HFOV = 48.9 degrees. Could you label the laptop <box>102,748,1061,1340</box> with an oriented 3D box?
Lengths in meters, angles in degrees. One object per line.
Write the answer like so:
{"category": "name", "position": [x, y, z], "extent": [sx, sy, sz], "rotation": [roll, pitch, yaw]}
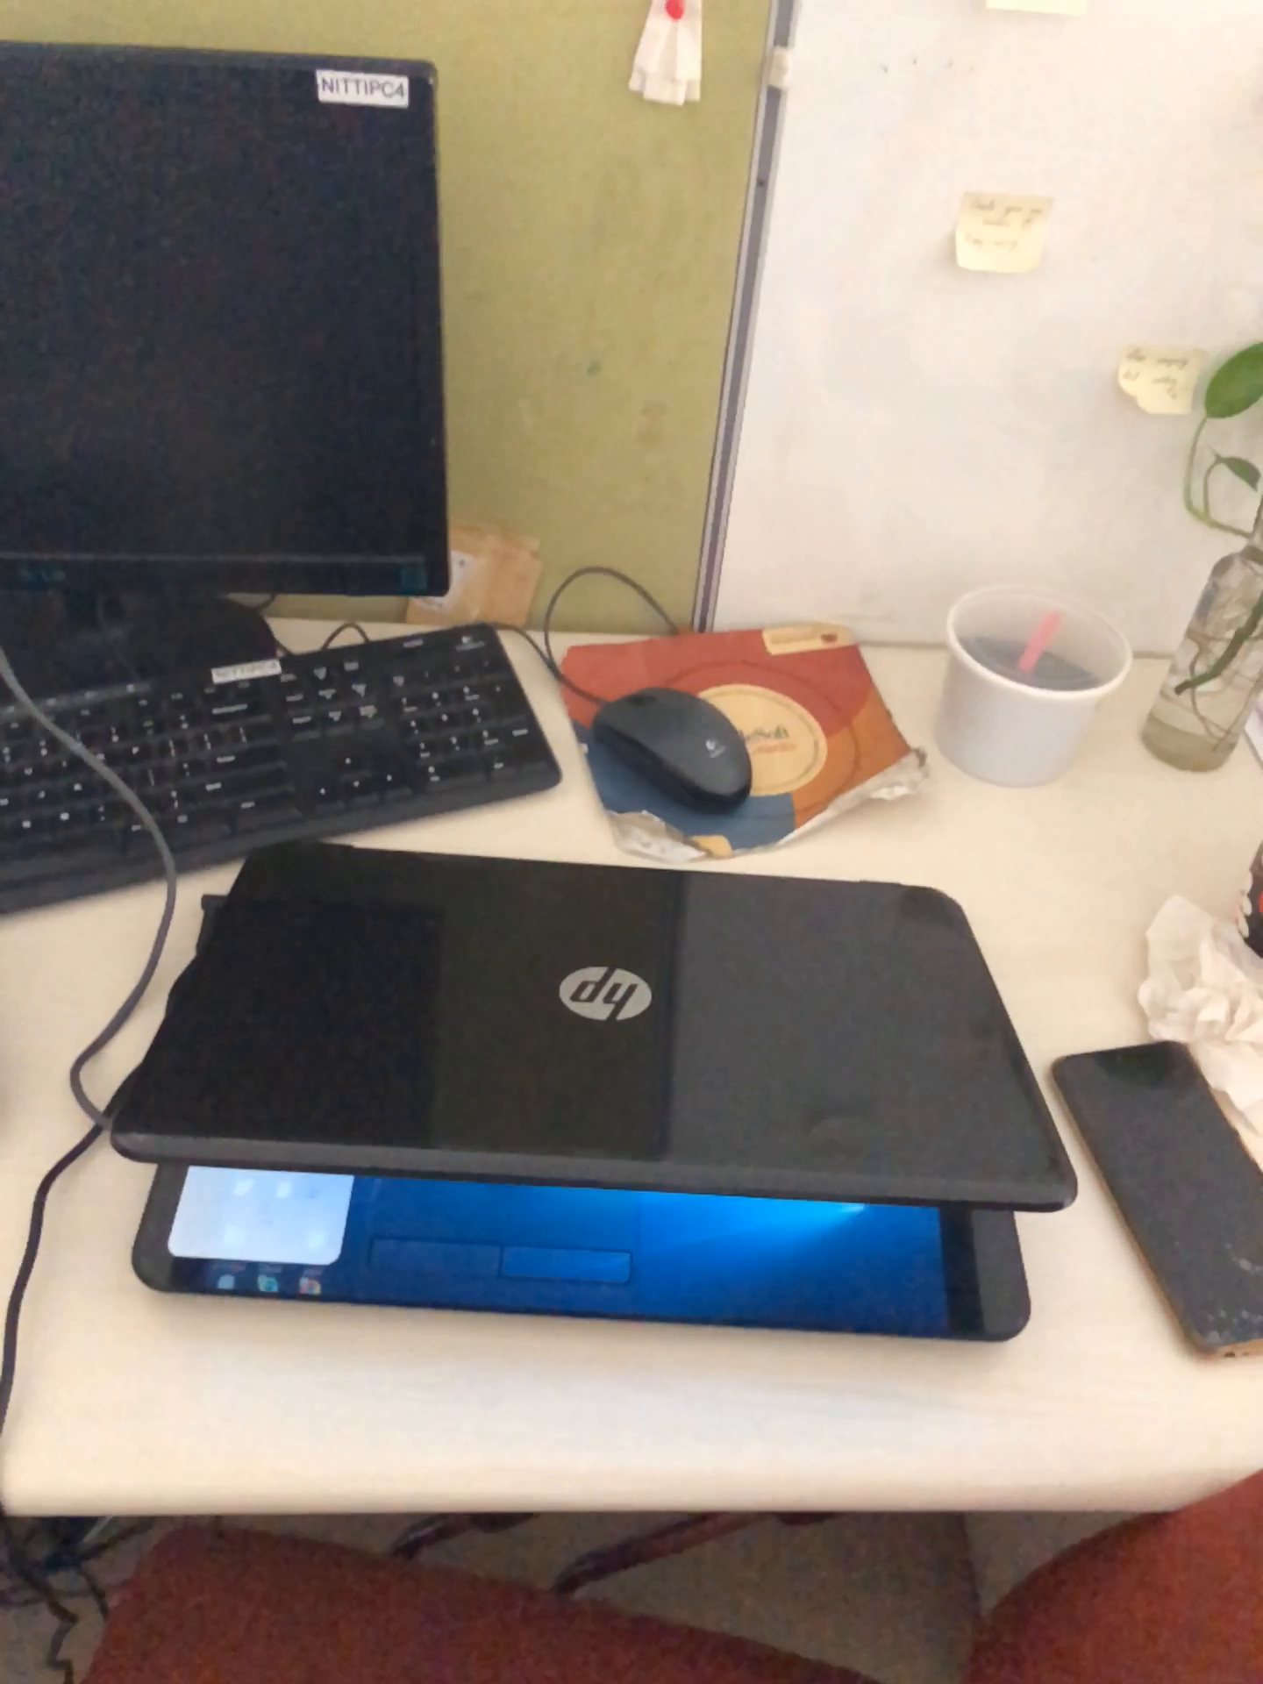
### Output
{"category": "laptop", "position": [-0.013, 0.078, 0.619], "extent": [0.350, 0.072, 0.247], "rotation": [4, 45, -2]}
